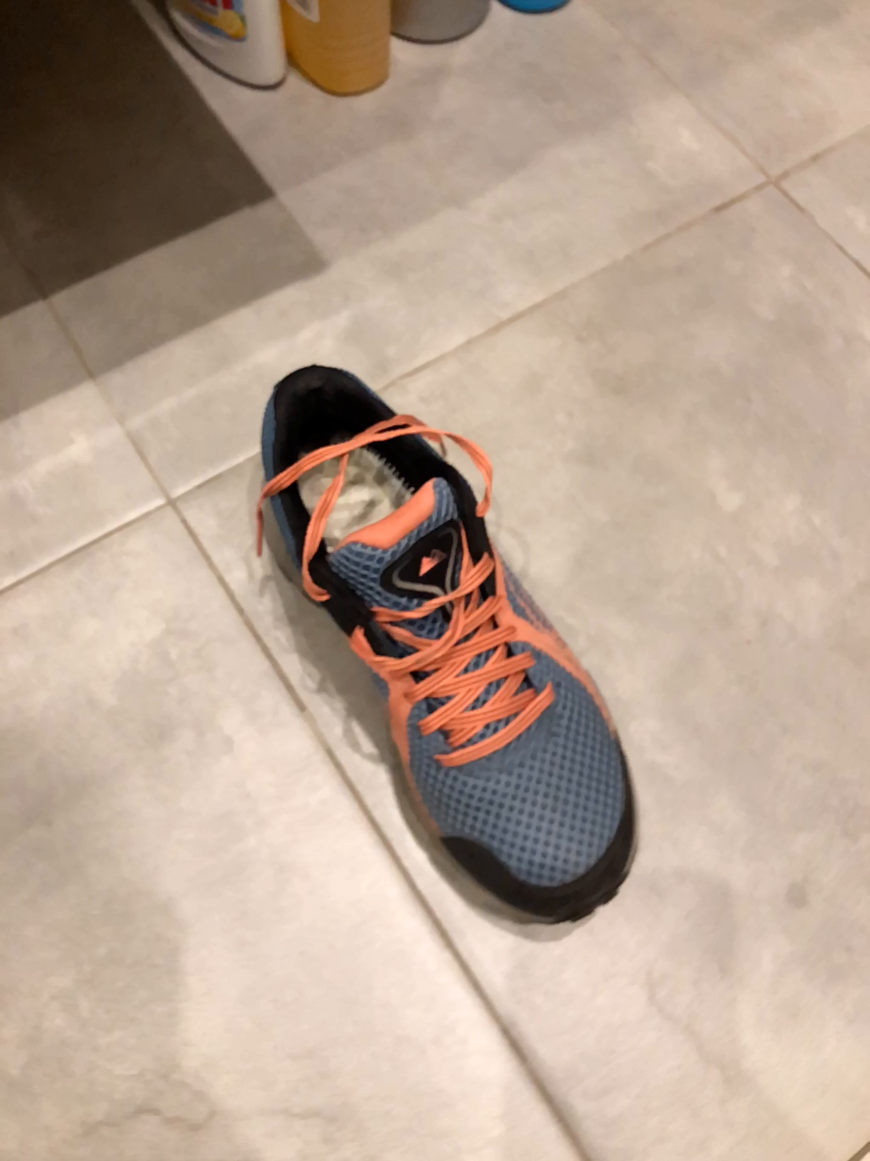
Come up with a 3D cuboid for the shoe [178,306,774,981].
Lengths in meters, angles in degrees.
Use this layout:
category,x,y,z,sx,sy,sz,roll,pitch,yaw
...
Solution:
category,x,y,z,sx,sy,sz,roll,pitch,yaw
shoe,0.006,0.023,0.410,0.110,0.090,0.250,-29,71,-14
